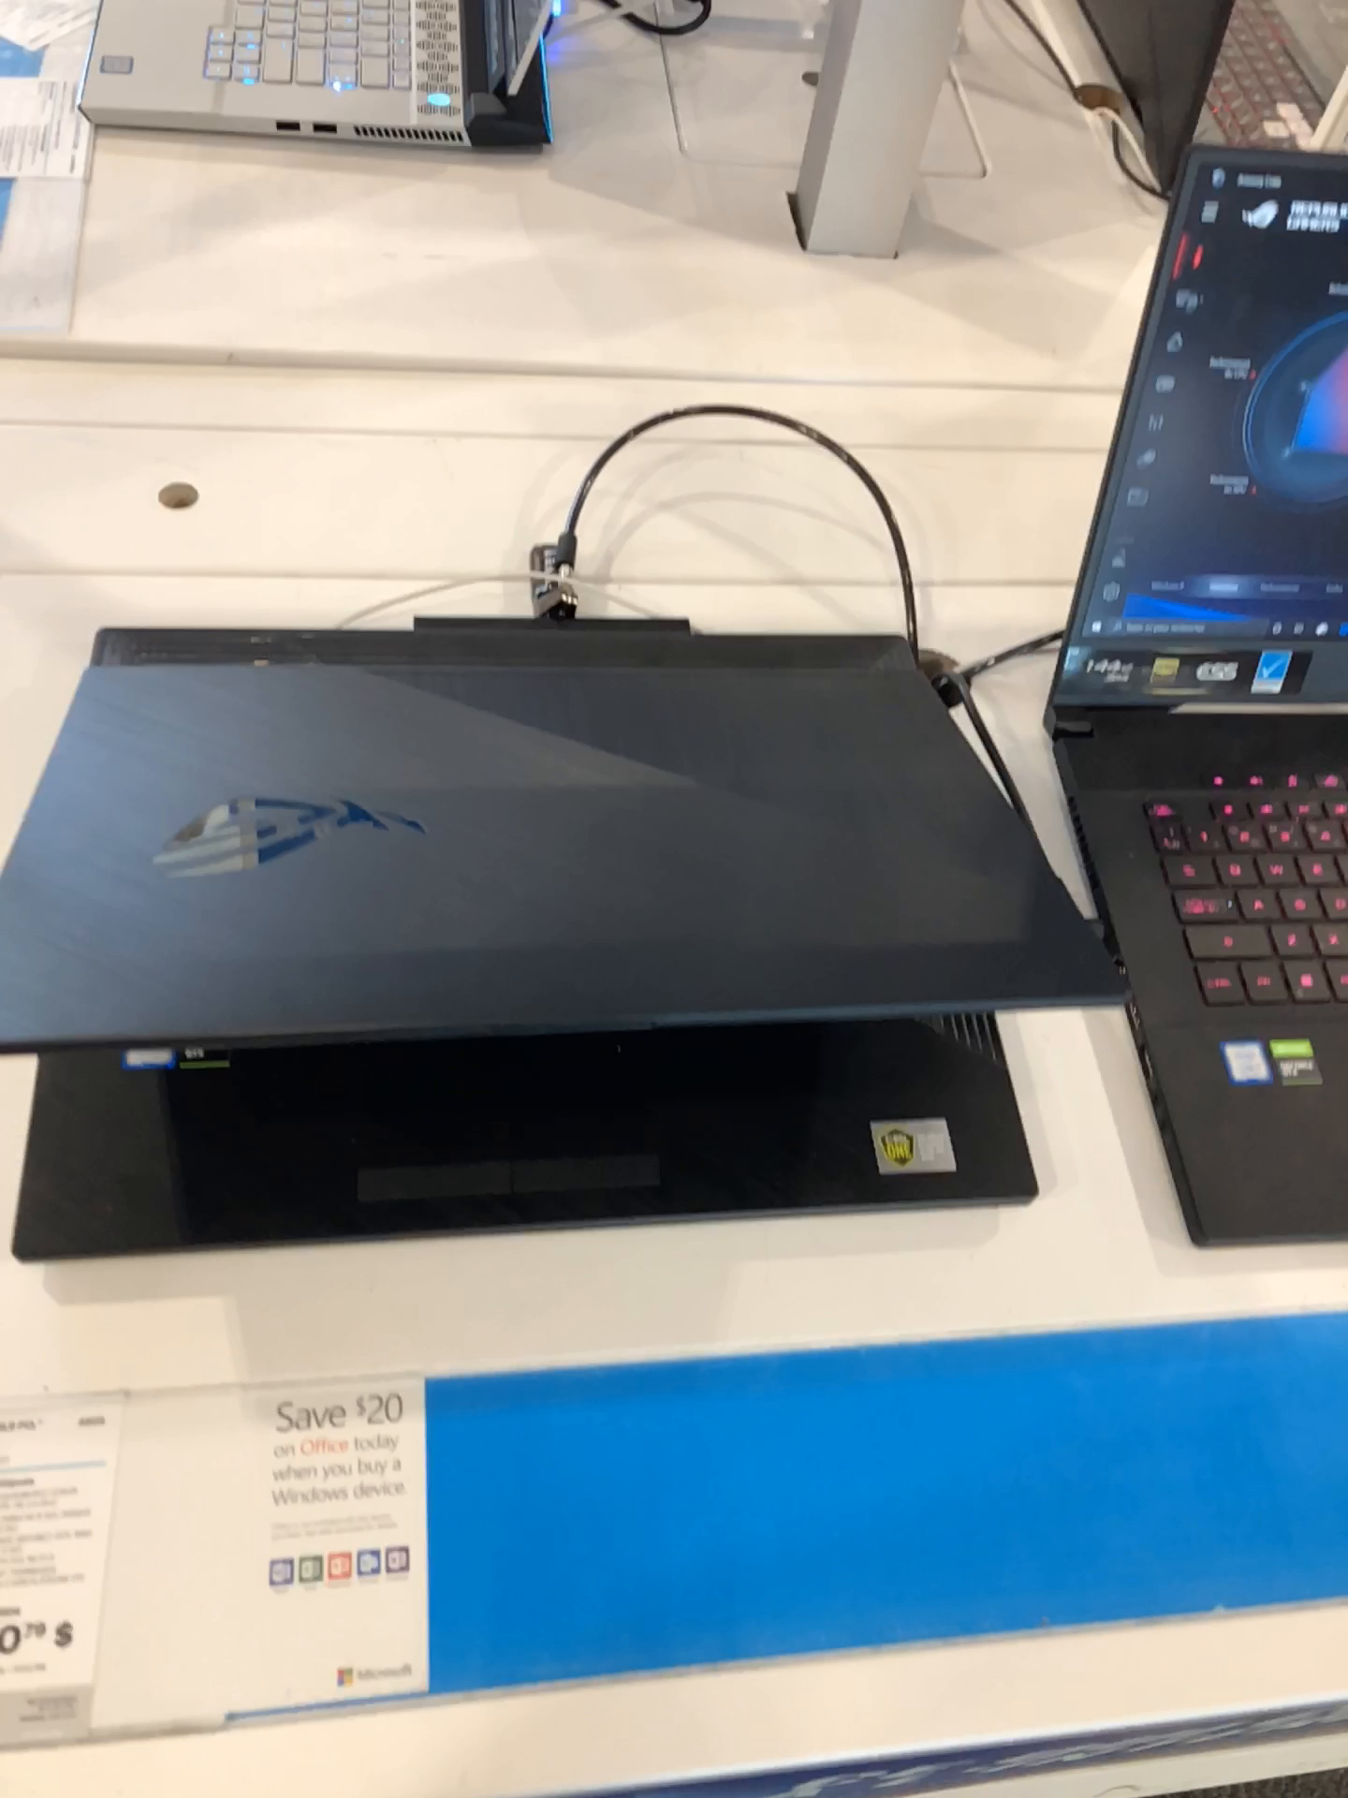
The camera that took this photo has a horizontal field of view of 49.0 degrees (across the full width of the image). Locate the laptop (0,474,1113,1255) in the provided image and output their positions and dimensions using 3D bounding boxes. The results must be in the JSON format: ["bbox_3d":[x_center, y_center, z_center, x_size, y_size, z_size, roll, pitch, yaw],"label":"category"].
[{"bbox_3d":[-0.046,-0.025,0.539,0.331,0.097,0.263,-1,58,-7],"label":"laptop"}]
